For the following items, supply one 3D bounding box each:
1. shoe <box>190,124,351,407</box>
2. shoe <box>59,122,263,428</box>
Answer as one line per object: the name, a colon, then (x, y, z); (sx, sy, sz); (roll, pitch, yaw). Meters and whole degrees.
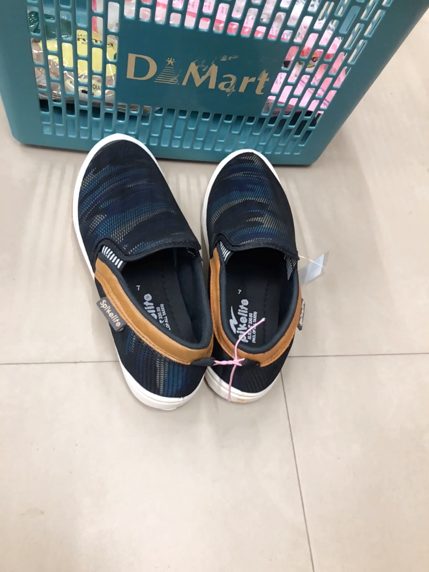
shoe: (0.043, -0.020, 0.453); (0.105, 0.107, 0.240); (7, 60, -11)
shoe: (-0.061, -0.016, 0.424); (0.105, 0.107, 0.239); (-10, 65, -19)
